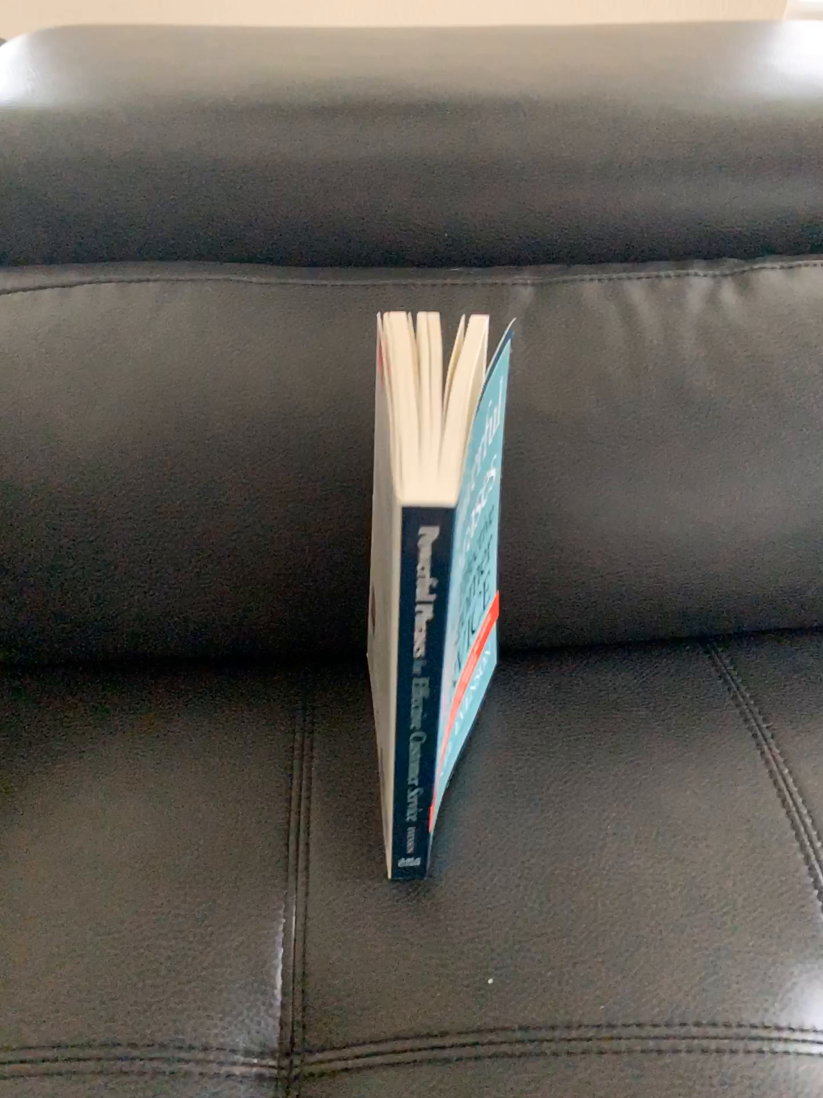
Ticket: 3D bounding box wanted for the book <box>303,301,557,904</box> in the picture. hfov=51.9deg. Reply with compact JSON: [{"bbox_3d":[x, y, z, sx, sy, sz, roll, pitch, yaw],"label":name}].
[{"bbox_3d":[0.008,0.032,0.414,0.082,0.246,0.163,2,40,2],"label":"book"}]
